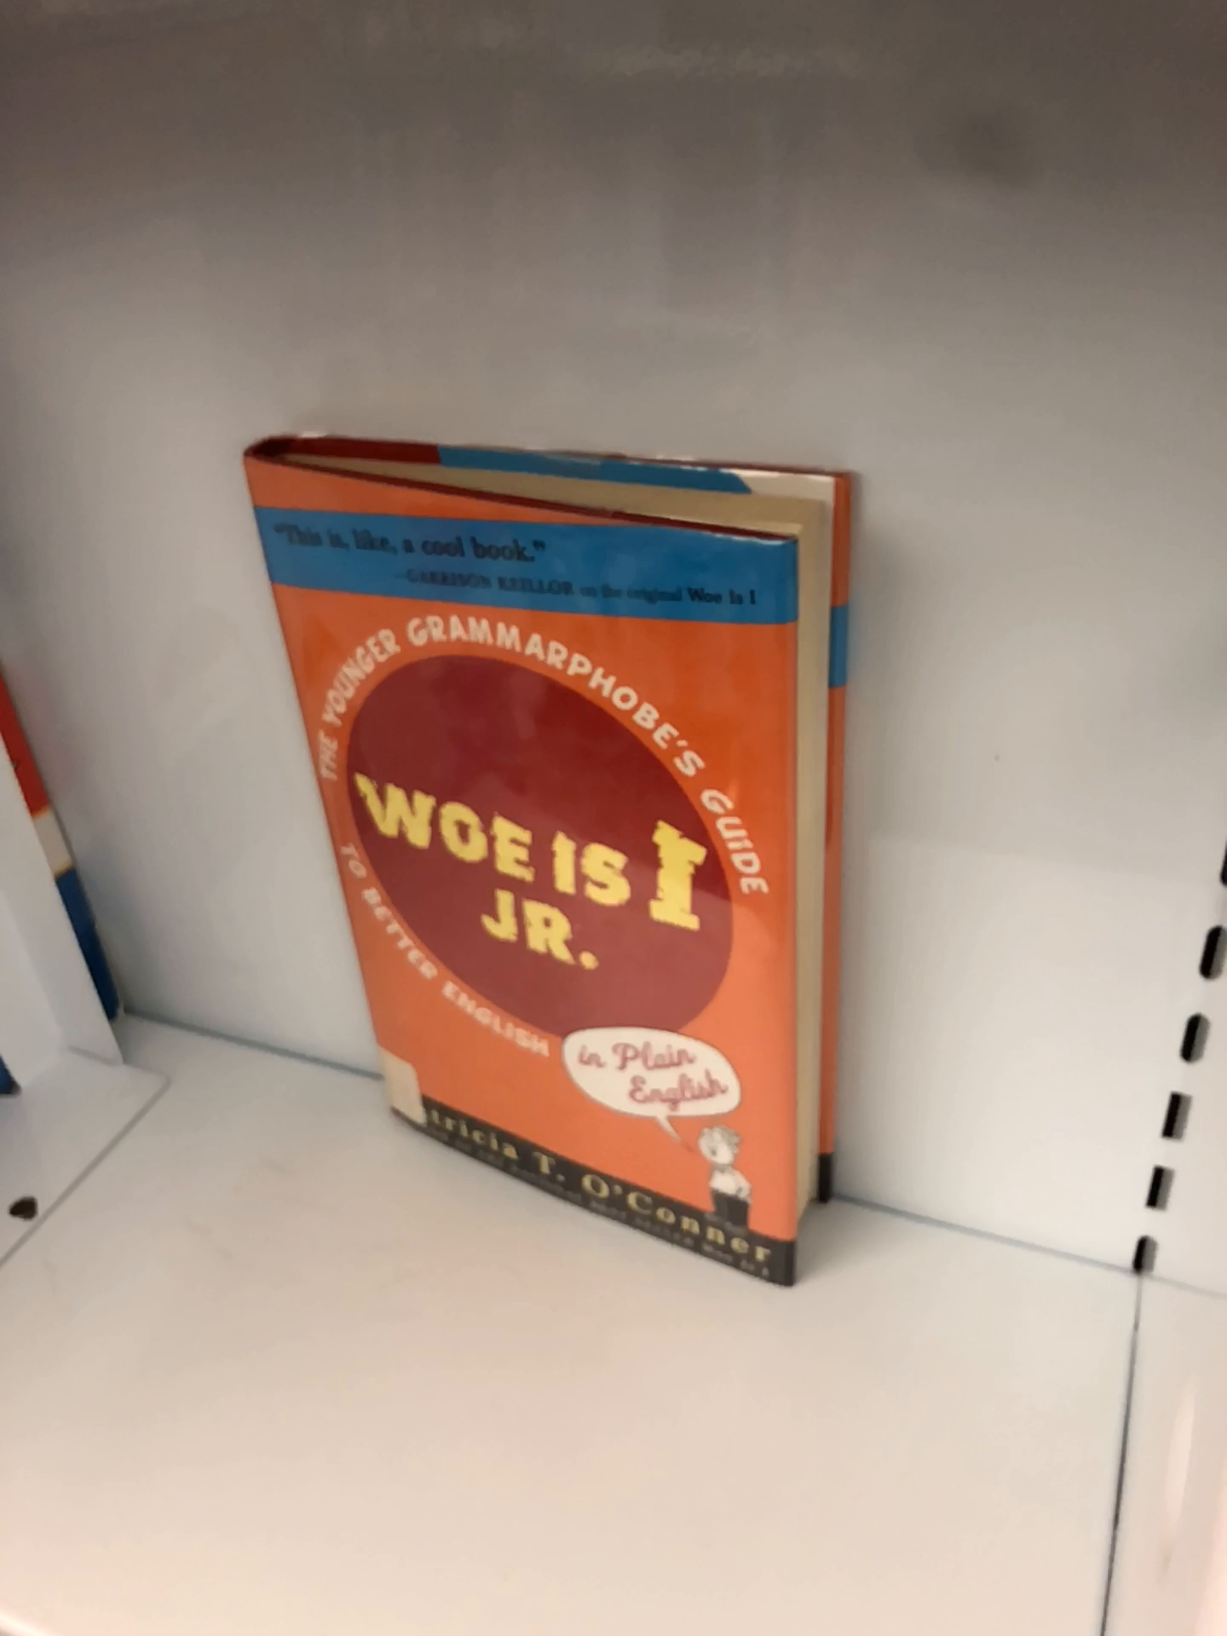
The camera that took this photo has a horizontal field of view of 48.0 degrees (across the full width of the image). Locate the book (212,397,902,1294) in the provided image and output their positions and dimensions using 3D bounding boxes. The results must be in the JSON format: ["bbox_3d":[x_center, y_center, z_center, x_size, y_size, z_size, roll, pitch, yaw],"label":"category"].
[{"bbox_3d":[-0.009,0.010,0.329,0.137,0.199,0.038,12,35,24],"label":"book"}]
